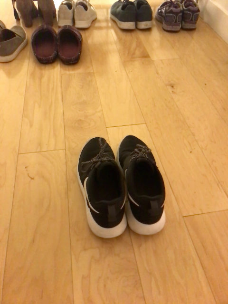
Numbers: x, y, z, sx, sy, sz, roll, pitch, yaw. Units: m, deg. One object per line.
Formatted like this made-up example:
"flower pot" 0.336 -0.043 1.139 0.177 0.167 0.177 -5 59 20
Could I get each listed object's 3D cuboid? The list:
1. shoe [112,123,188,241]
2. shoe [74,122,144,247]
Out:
"shoe" 0.067 0.056 0.590 0.110 0.089 0.272 -5 48 -7
"shoe" -0.024 0.060 0.571 0.110 0.089 0.272 -6 48 -8
